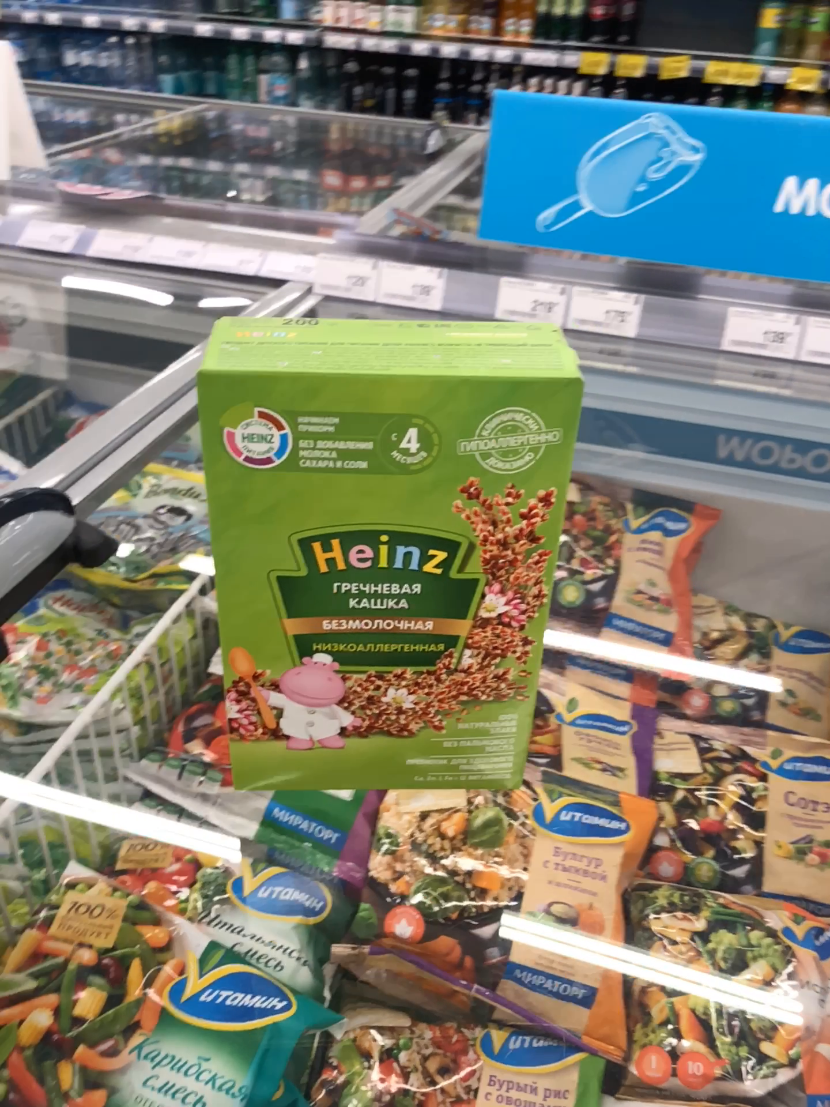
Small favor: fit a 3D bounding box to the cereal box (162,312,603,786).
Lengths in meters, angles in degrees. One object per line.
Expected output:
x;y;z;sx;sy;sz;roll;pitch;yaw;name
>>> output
-0.014;0.007;0.363;0.140;0.189;0.050;1;33;-3;cereal box
